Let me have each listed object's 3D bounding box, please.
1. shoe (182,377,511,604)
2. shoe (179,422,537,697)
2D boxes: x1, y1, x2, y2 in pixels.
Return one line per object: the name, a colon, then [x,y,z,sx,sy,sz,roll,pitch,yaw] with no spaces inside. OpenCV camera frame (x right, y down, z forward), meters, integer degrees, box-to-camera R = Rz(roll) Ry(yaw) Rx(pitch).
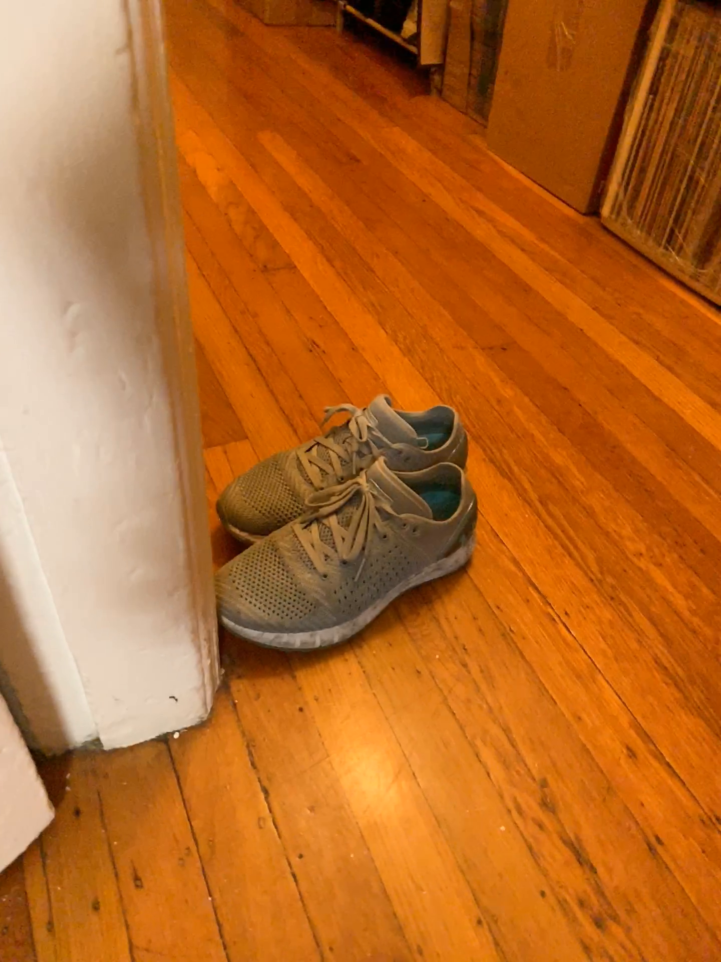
shoe: [-0.012,0.000,0.680,0.270,0.090,0.110,-17,49,-23]
shoe: [0.001,0.052,0.599,0.260,0.080,0.110,-21,51,-26]
